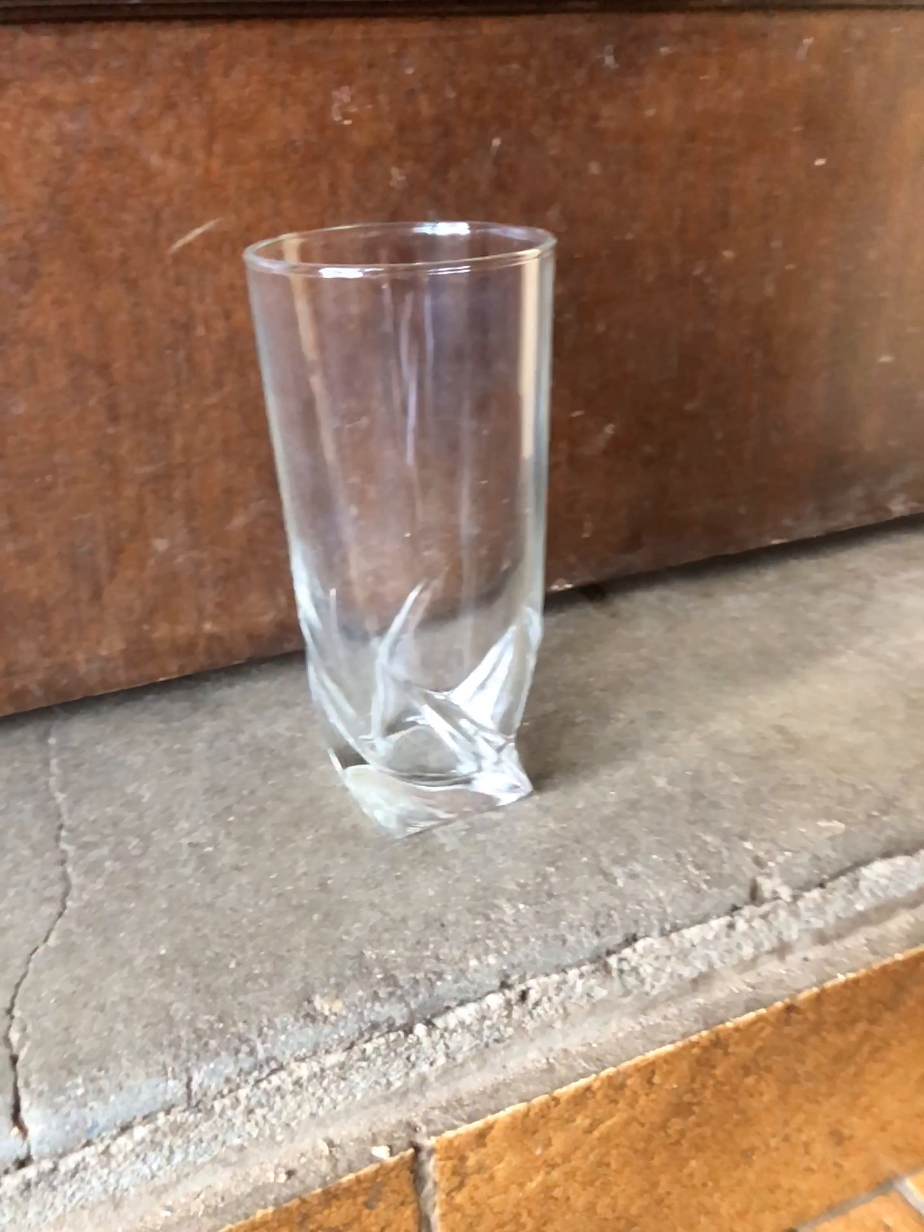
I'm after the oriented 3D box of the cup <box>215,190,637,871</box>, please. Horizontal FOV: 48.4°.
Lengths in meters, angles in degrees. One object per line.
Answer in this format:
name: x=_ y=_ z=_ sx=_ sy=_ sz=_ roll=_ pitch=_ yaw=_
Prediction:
cup: x=-0.008 y=-0.022 z=0.246 sx=0.070 sy=0.139 sz=0.060 roll=-14 pitch=29 yaw=-22
